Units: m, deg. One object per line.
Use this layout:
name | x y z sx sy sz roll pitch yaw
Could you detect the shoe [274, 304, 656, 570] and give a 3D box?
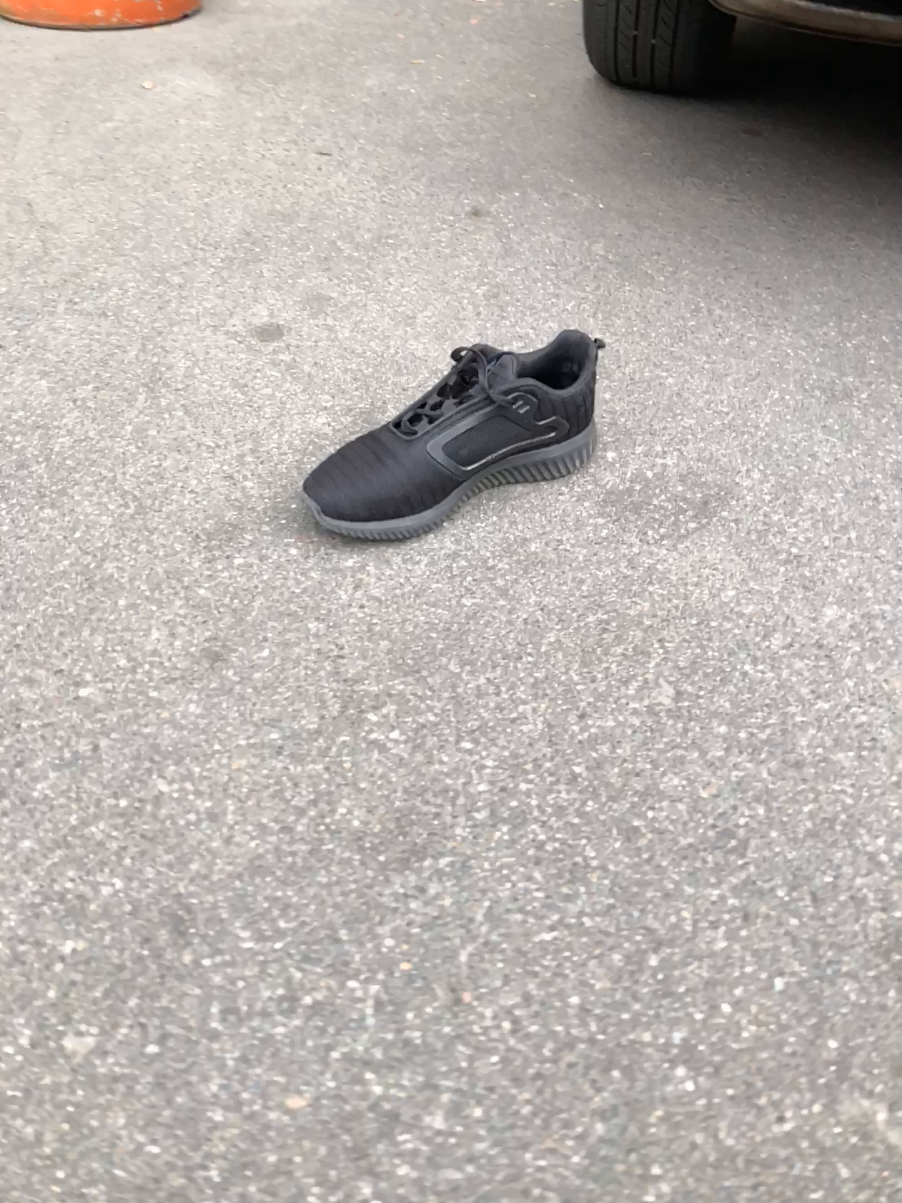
shoe | 0.013 -0.138 0.781 0.281 0.109 0.100 -21 49 -26
